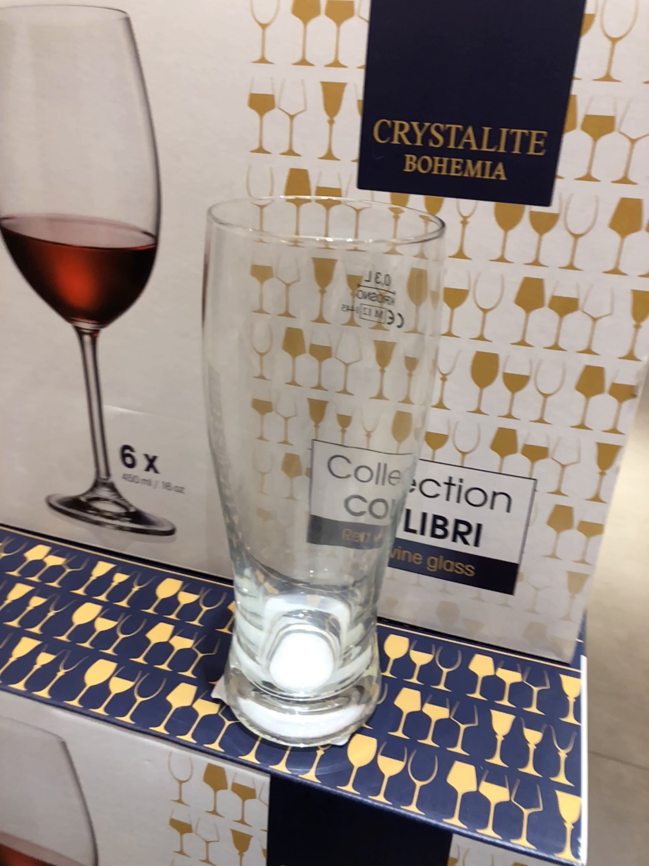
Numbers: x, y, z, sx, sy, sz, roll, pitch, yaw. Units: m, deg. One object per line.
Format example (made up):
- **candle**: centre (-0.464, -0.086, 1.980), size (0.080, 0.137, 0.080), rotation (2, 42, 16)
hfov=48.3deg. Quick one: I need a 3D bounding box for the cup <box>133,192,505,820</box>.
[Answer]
- **cup**: centre (0.000, 0.021, 0.243), size (0.080, 0.179, 0.081), rotation (2, 26, -1)
